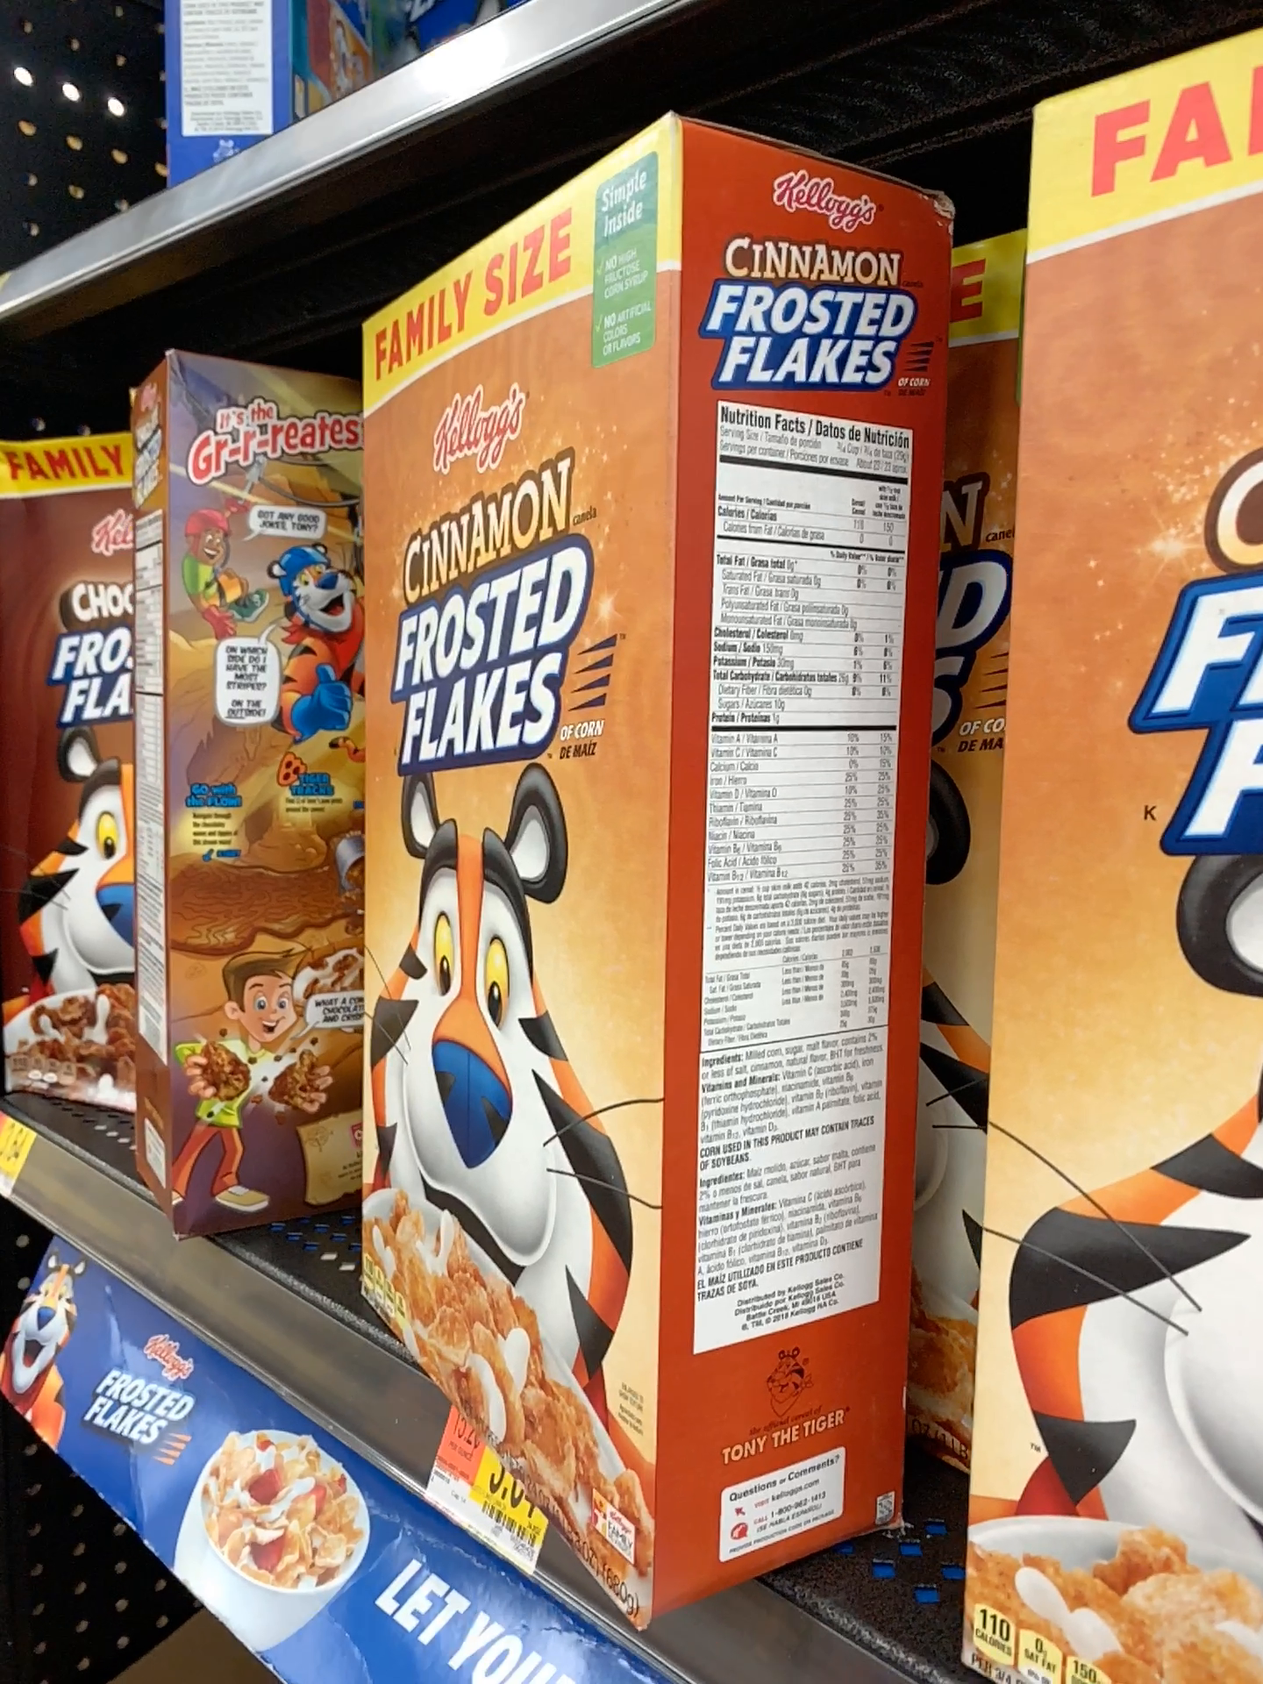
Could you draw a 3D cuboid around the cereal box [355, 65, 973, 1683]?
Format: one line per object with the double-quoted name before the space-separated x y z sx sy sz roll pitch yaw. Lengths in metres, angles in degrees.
"cereal box" -0.009 0.009 0.372 0.080 0.340 0.200 -2 5 -29
